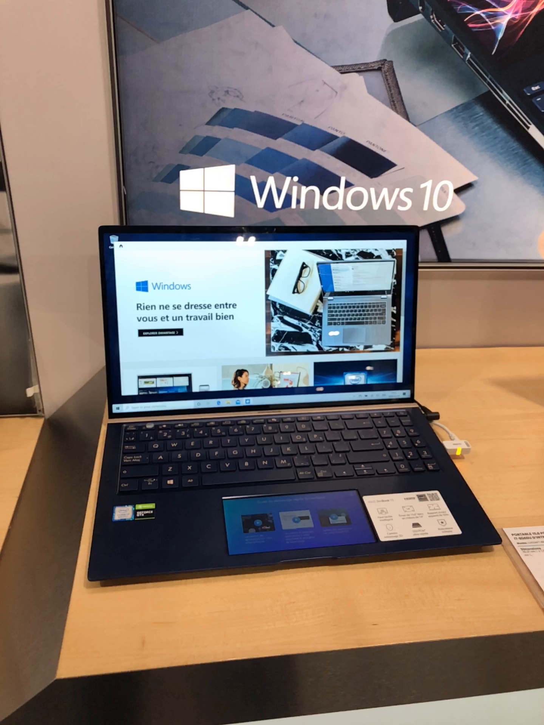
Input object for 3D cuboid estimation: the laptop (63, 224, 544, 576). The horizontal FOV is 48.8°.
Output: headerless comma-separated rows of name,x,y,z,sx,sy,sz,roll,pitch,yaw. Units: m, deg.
laptop,0.010,0.008,0.555,0.338,0.183,0.274,-2,31,-10
